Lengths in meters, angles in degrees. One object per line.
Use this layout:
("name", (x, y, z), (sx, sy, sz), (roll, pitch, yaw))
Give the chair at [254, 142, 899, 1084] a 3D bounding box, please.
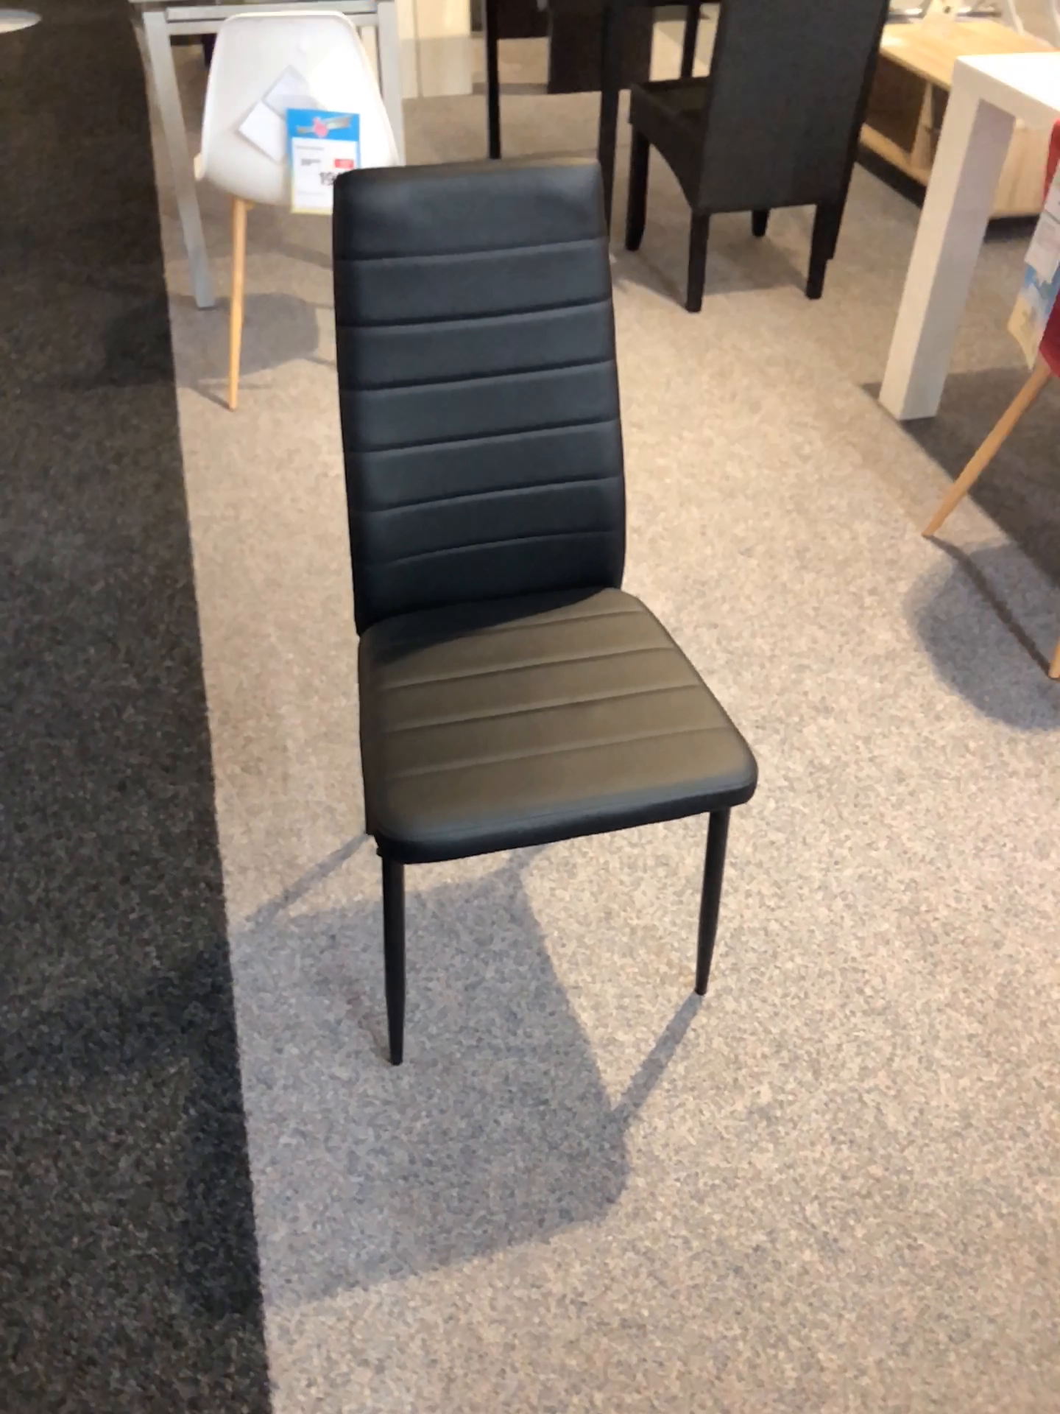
("chair", (0.000, -0.071, 1.346), (0.471, 0.934, 0.472), (-8, 42, -10))
